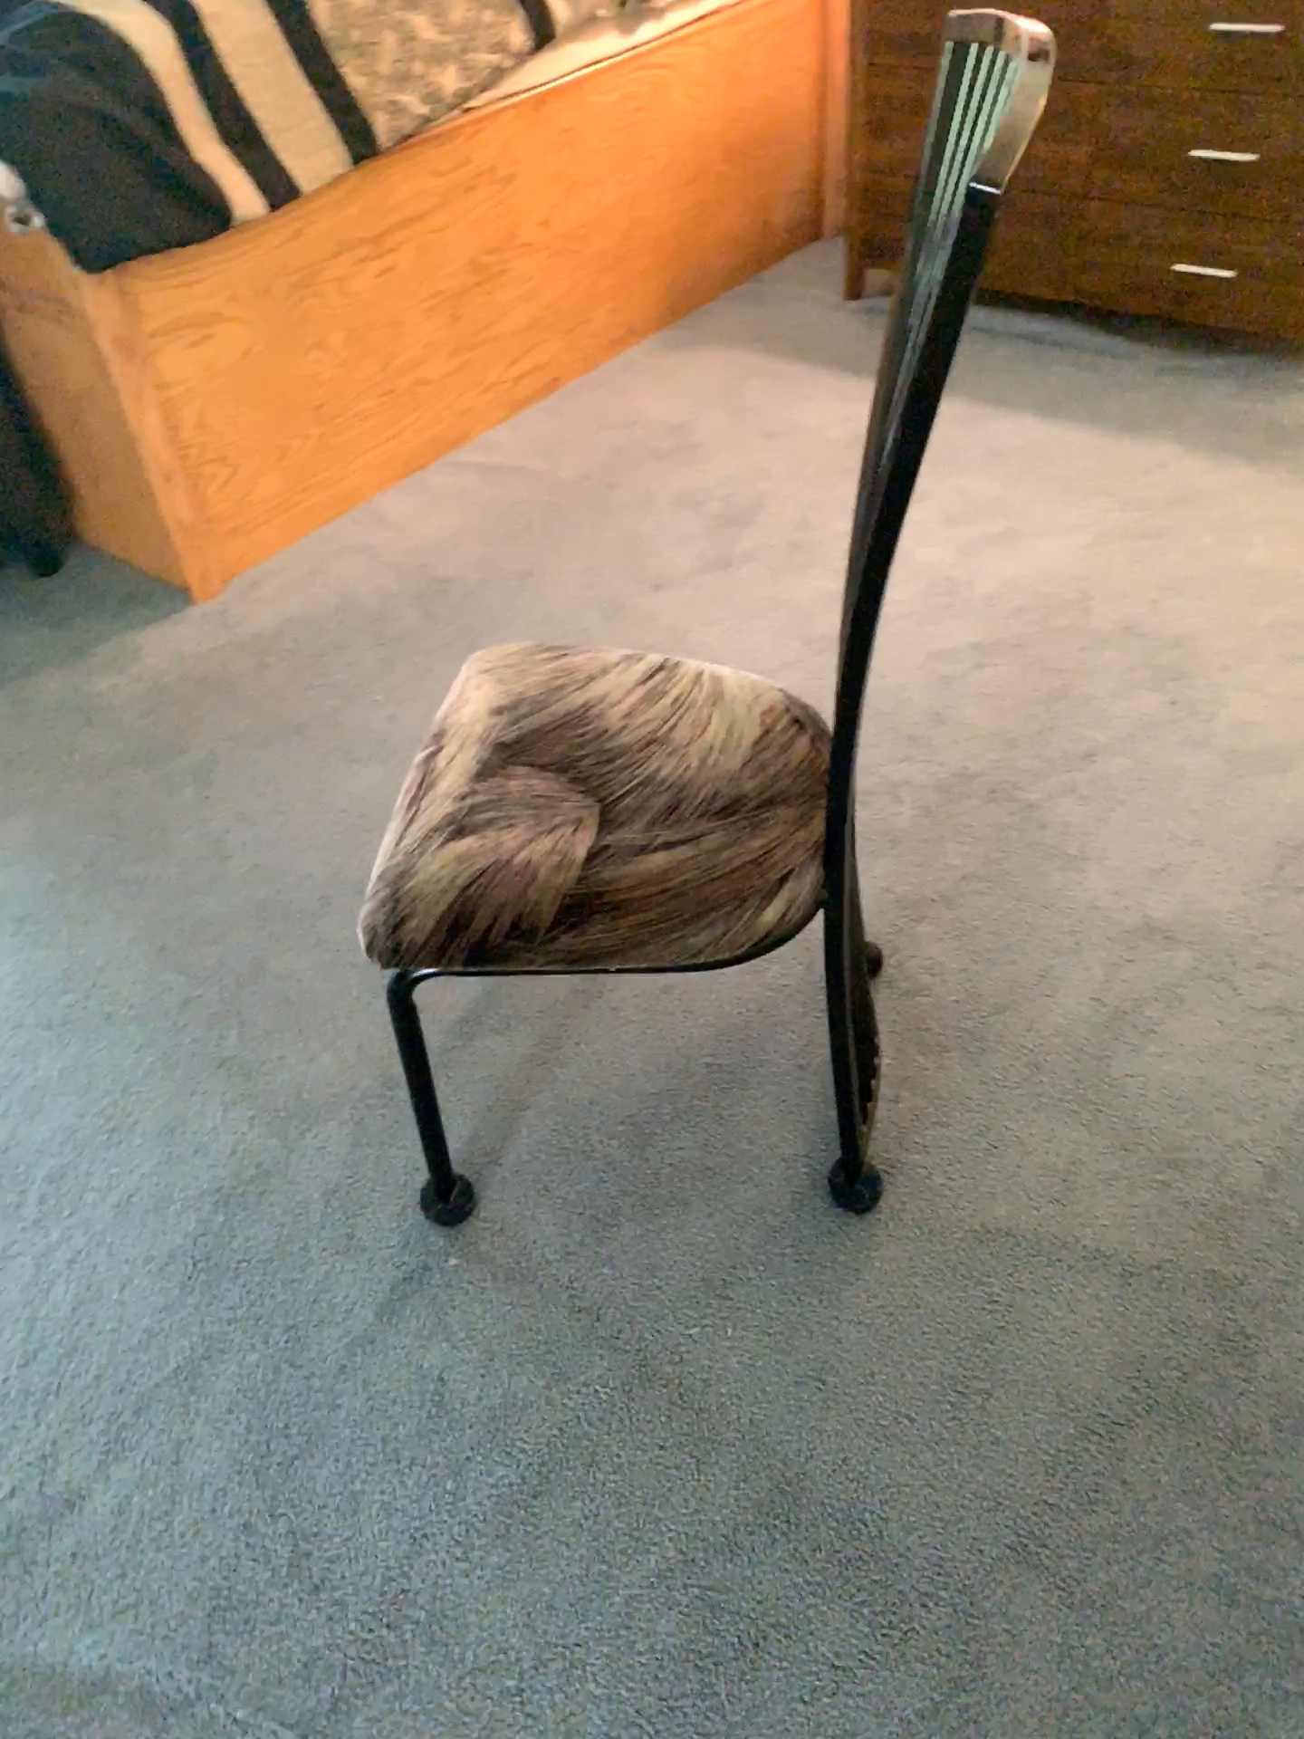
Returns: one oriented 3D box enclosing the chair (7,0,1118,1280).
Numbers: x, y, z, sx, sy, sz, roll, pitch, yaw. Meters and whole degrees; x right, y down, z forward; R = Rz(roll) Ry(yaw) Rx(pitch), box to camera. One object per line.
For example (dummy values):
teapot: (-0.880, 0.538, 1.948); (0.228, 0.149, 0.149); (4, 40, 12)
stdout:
chair: (0.011, -0.148, 1.145); (0.540, 0.975, 0.513); (1, 43, 8)
